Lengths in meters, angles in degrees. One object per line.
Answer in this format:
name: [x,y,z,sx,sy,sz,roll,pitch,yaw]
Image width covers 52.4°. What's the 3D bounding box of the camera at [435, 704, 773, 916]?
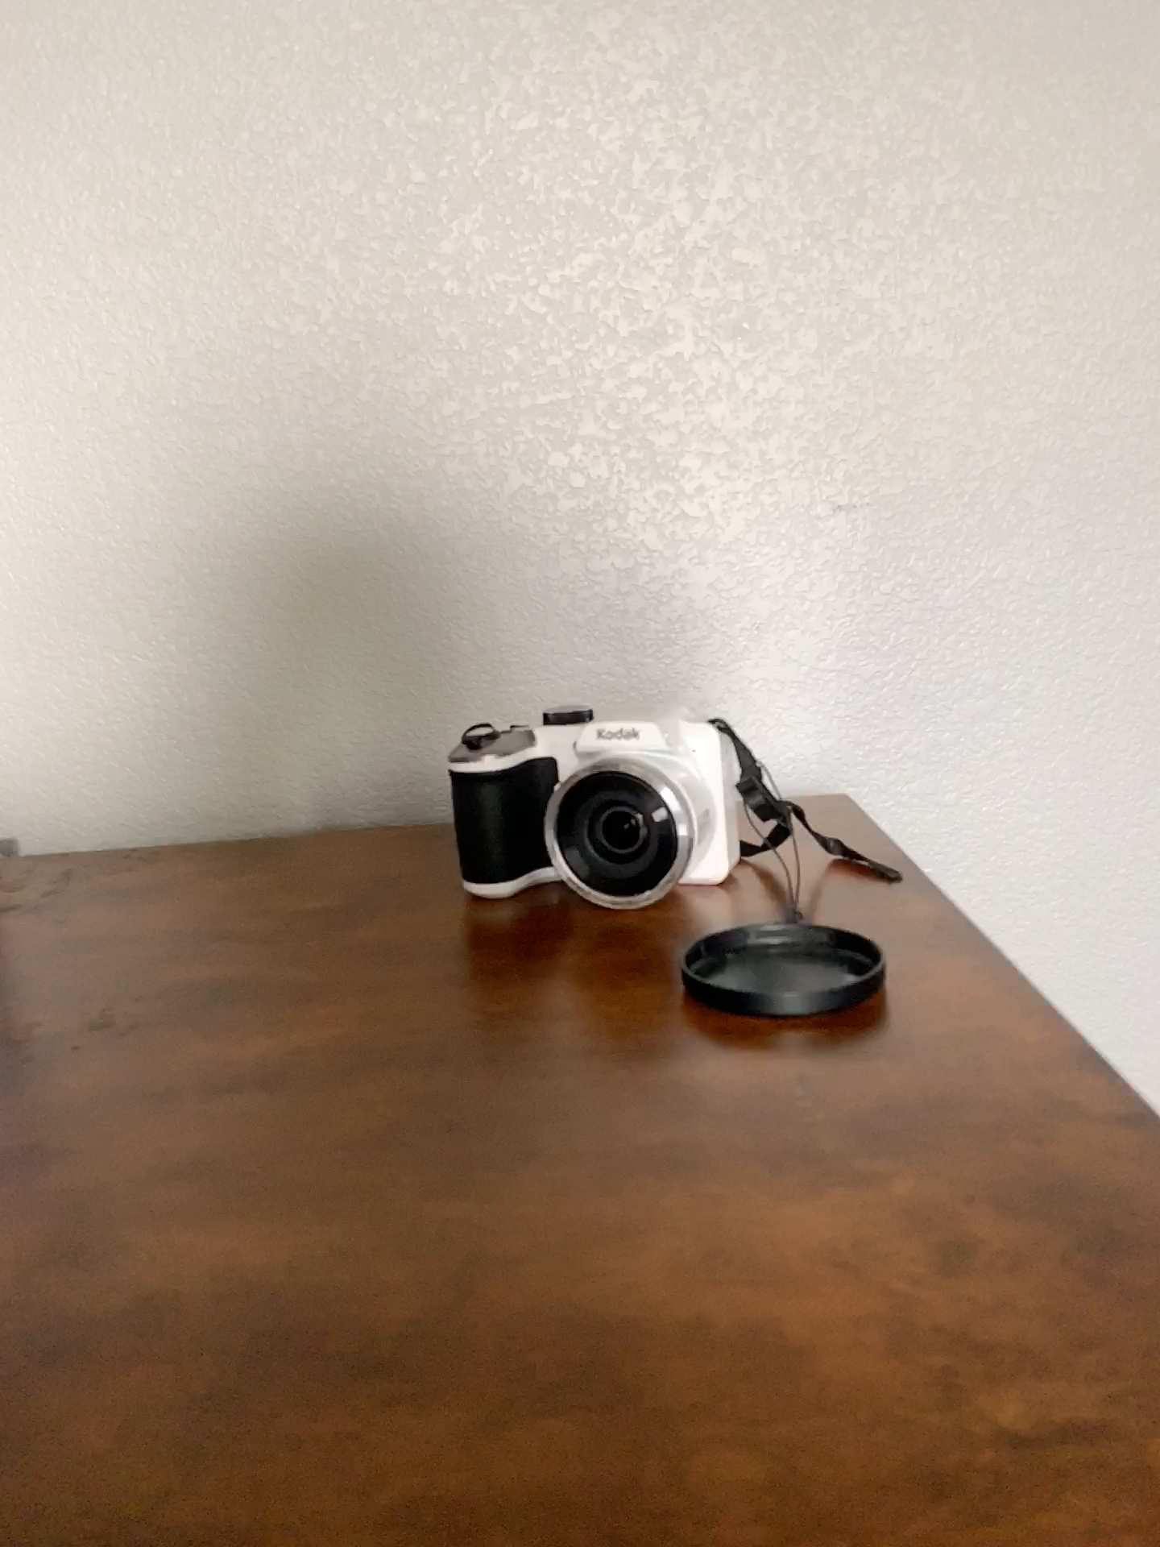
camera: [0.011,0.012,0.500,0.119,0.071,0.070,0,10,28]
